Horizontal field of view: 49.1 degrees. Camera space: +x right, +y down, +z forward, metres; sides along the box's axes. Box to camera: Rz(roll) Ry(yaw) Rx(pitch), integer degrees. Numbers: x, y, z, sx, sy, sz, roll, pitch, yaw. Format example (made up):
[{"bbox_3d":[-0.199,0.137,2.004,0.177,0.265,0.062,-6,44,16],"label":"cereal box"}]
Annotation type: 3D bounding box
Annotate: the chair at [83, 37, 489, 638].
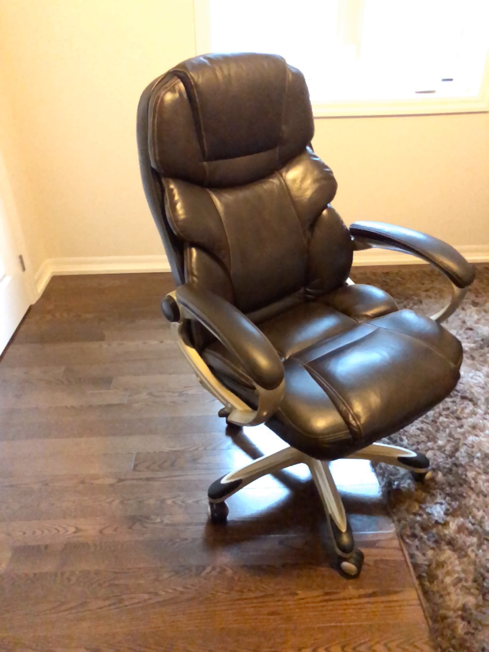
[{"bbox_3d":[0.175,-0.045,1.353,0.731,1.135,0.742,-21,37,-28],"label":"chair"}]
